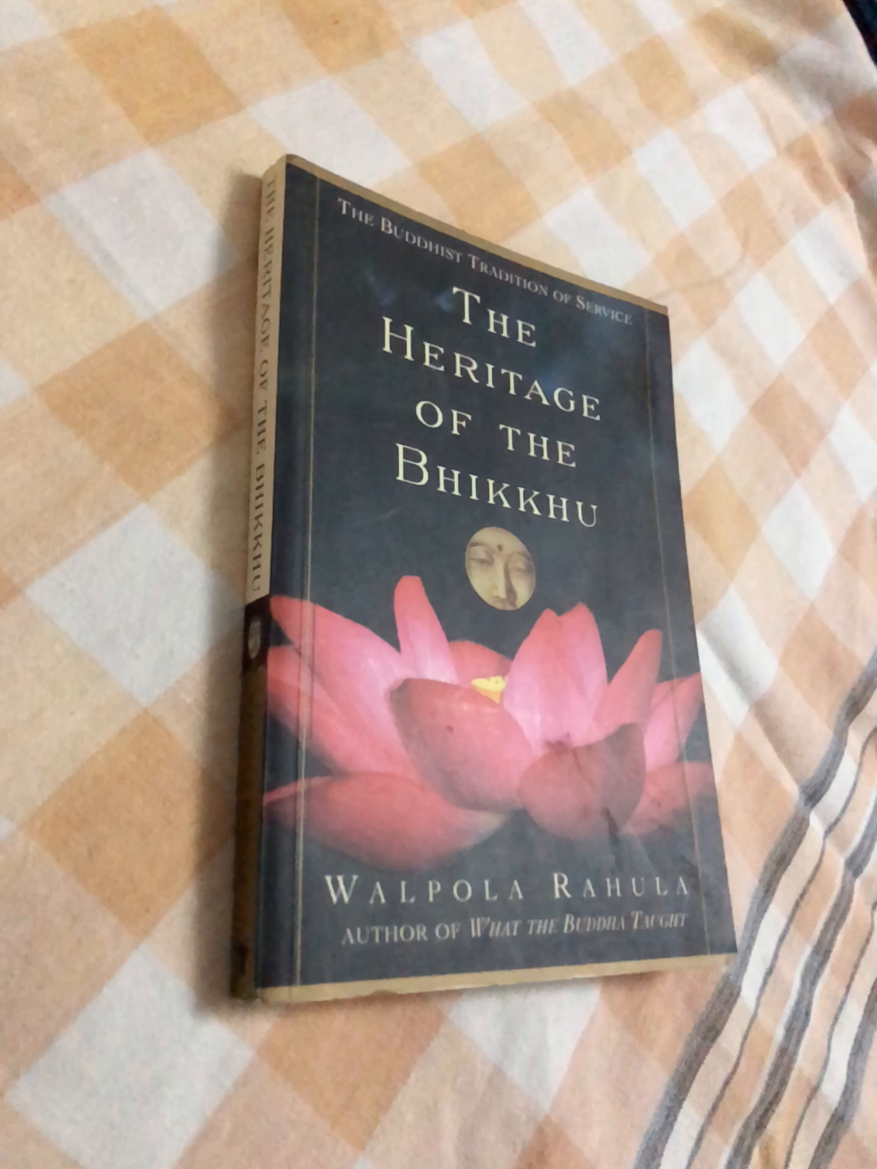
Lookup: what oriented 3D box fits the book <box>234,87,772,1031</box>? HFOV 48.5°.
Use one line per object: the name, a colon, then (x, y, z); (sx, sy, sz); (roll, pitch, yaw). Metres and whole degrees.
book: (0.018, -0.008, 0.265); (0.141, 0.030, 0.220); (10, 68, -35)
